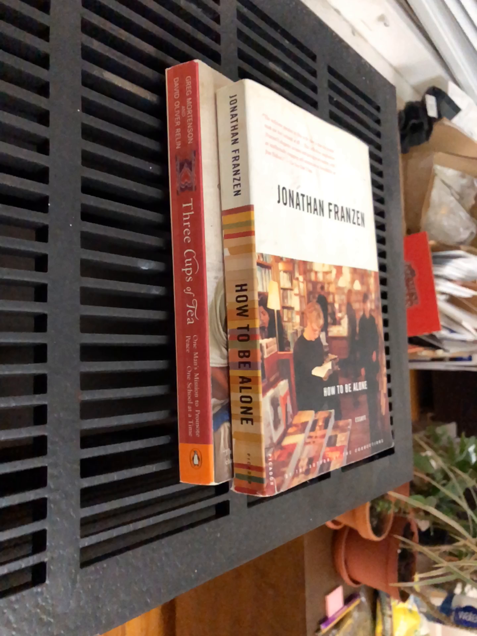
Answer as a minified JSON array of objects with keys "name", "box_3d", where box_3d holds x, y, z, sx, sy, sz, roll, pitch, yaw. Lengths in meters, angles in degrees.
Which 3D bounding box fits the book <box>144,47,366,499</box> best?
[{"name":"book","box_3d":[0.019,-0.023,0.313,0.151,0.030,0.210,-1,86,-51]}]

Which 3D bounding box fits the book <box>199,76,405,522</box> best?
[{"name":"book","box_3d":[0.047,-0.011,0.317,0.151,0.030,0.210,-1,86,-51]}]
